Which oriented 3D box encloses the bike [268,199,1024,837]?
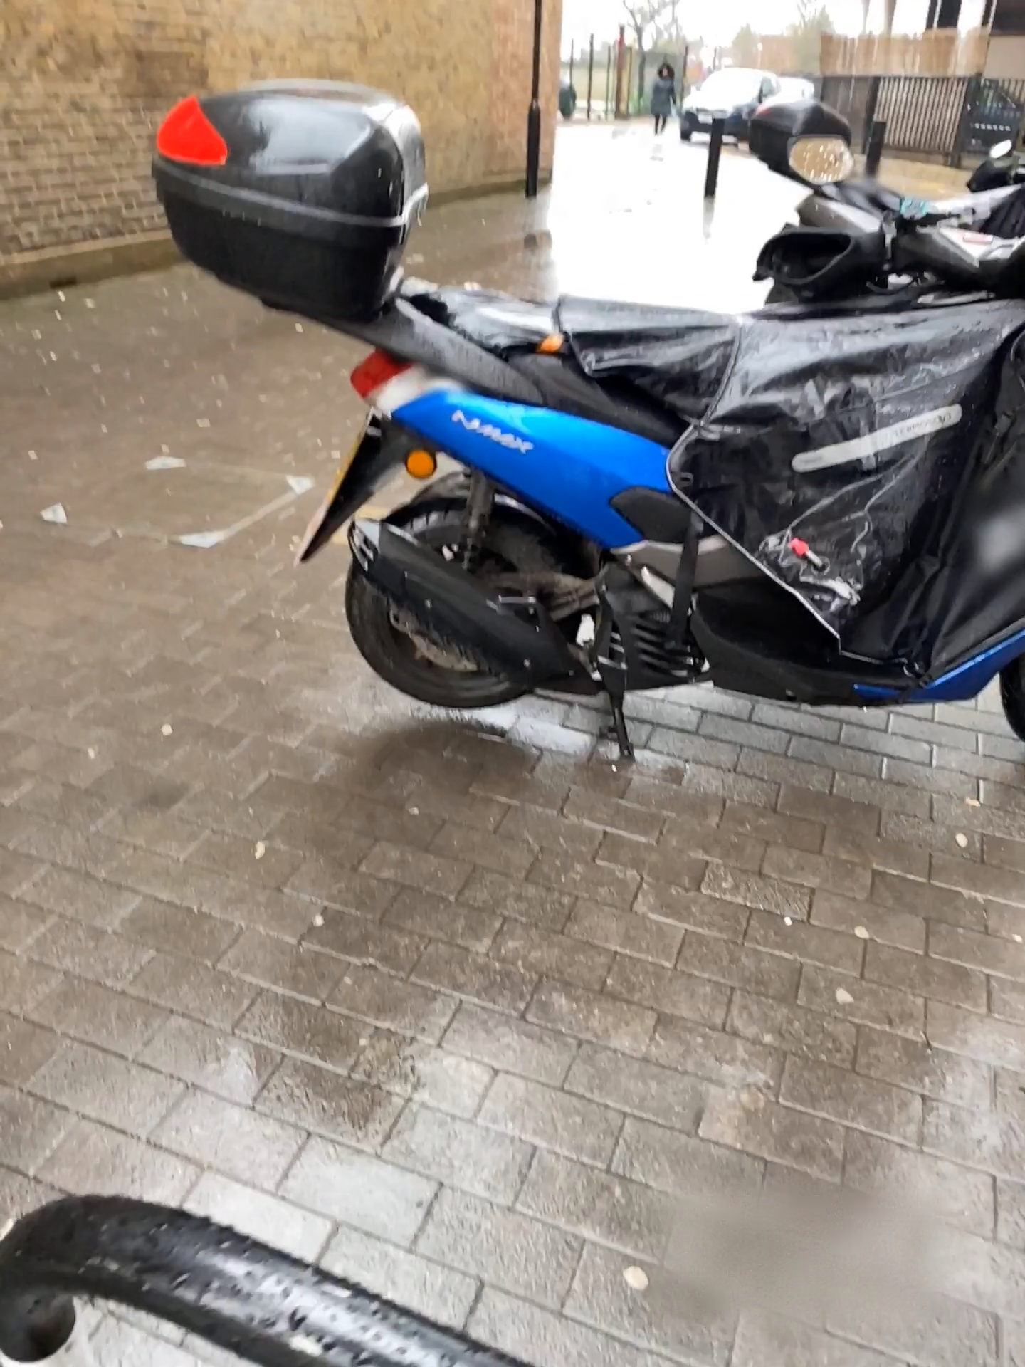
[{"bbox_3d":[0.524,-0.323,2.013,1.731,0.998,0.682,0,29,-4],"label":"bike"}]
